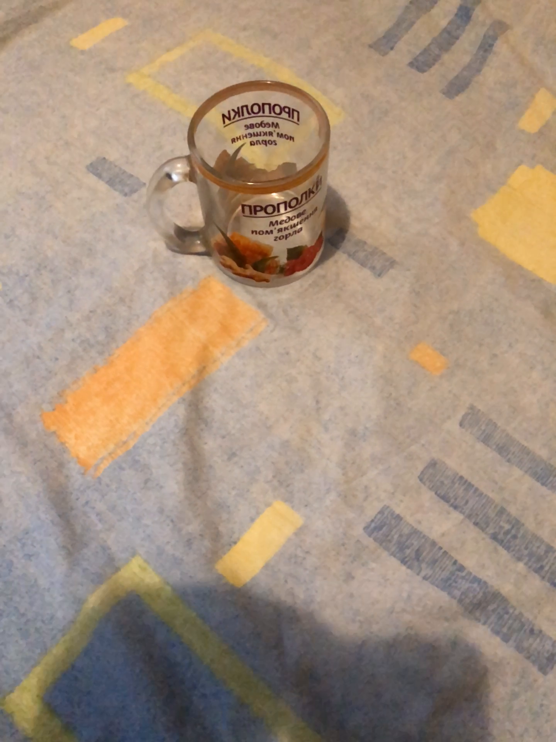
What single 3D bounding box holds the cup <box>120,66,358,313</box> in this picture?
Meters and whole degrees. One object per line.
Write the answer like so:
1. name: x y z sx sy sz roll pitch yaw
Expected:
1. cup: -0.024 -0.106 0.370 0.110 0.092 0.084 -14 64 -8
